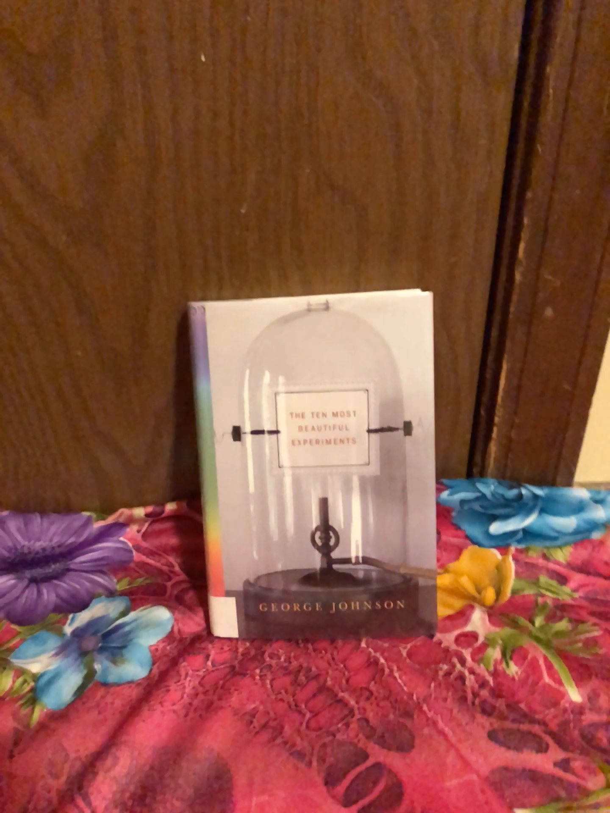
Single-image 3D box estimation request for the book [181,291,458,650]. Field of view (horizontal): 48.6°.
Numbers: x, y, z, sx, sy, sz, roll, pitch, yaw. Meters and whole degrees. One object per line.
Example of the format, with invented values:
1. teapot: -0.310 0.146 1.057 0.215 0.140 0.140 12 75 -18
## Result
1. book: 0.011 0.035 0.374 0.140 0.190 0.033 -2 9 0
